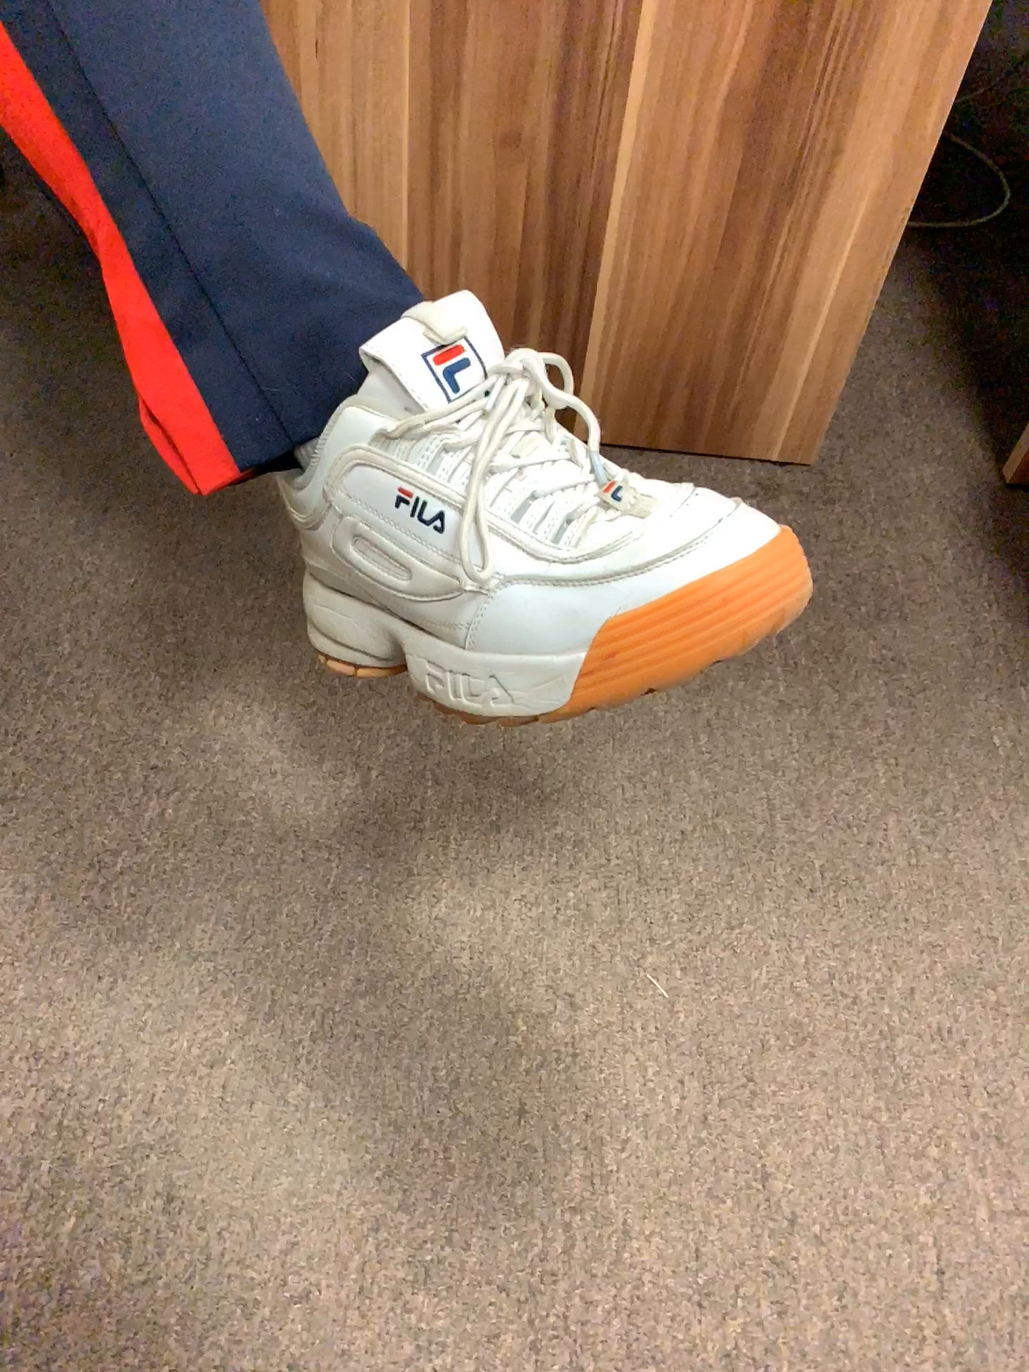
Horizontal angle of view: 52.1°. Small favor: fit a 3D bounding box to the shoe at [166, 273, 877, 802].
[{"bbox_3d":[-0.002,-0.078,0.410,0.230,0.130,0.130,20,39,39],"label":"shoe"}]
